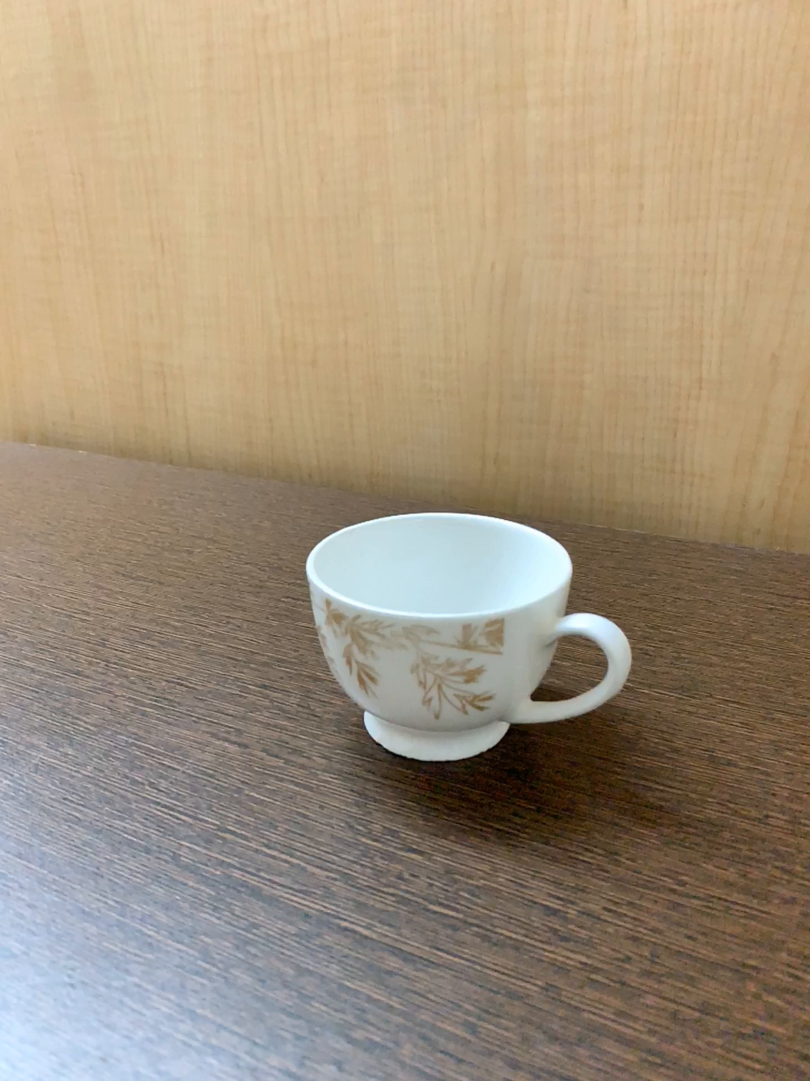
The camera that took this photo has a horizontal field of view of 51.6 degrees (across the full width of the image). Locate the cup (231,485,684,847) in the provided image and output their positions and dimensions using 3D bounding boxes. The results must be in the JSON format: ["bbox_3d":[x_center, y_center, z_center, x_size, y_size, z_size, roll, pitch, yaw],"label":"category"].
[{"bbox_3d":[0.017,0.026,0.243,0.100,0.050,0.080,12,25,30],"label":"cup"}]
